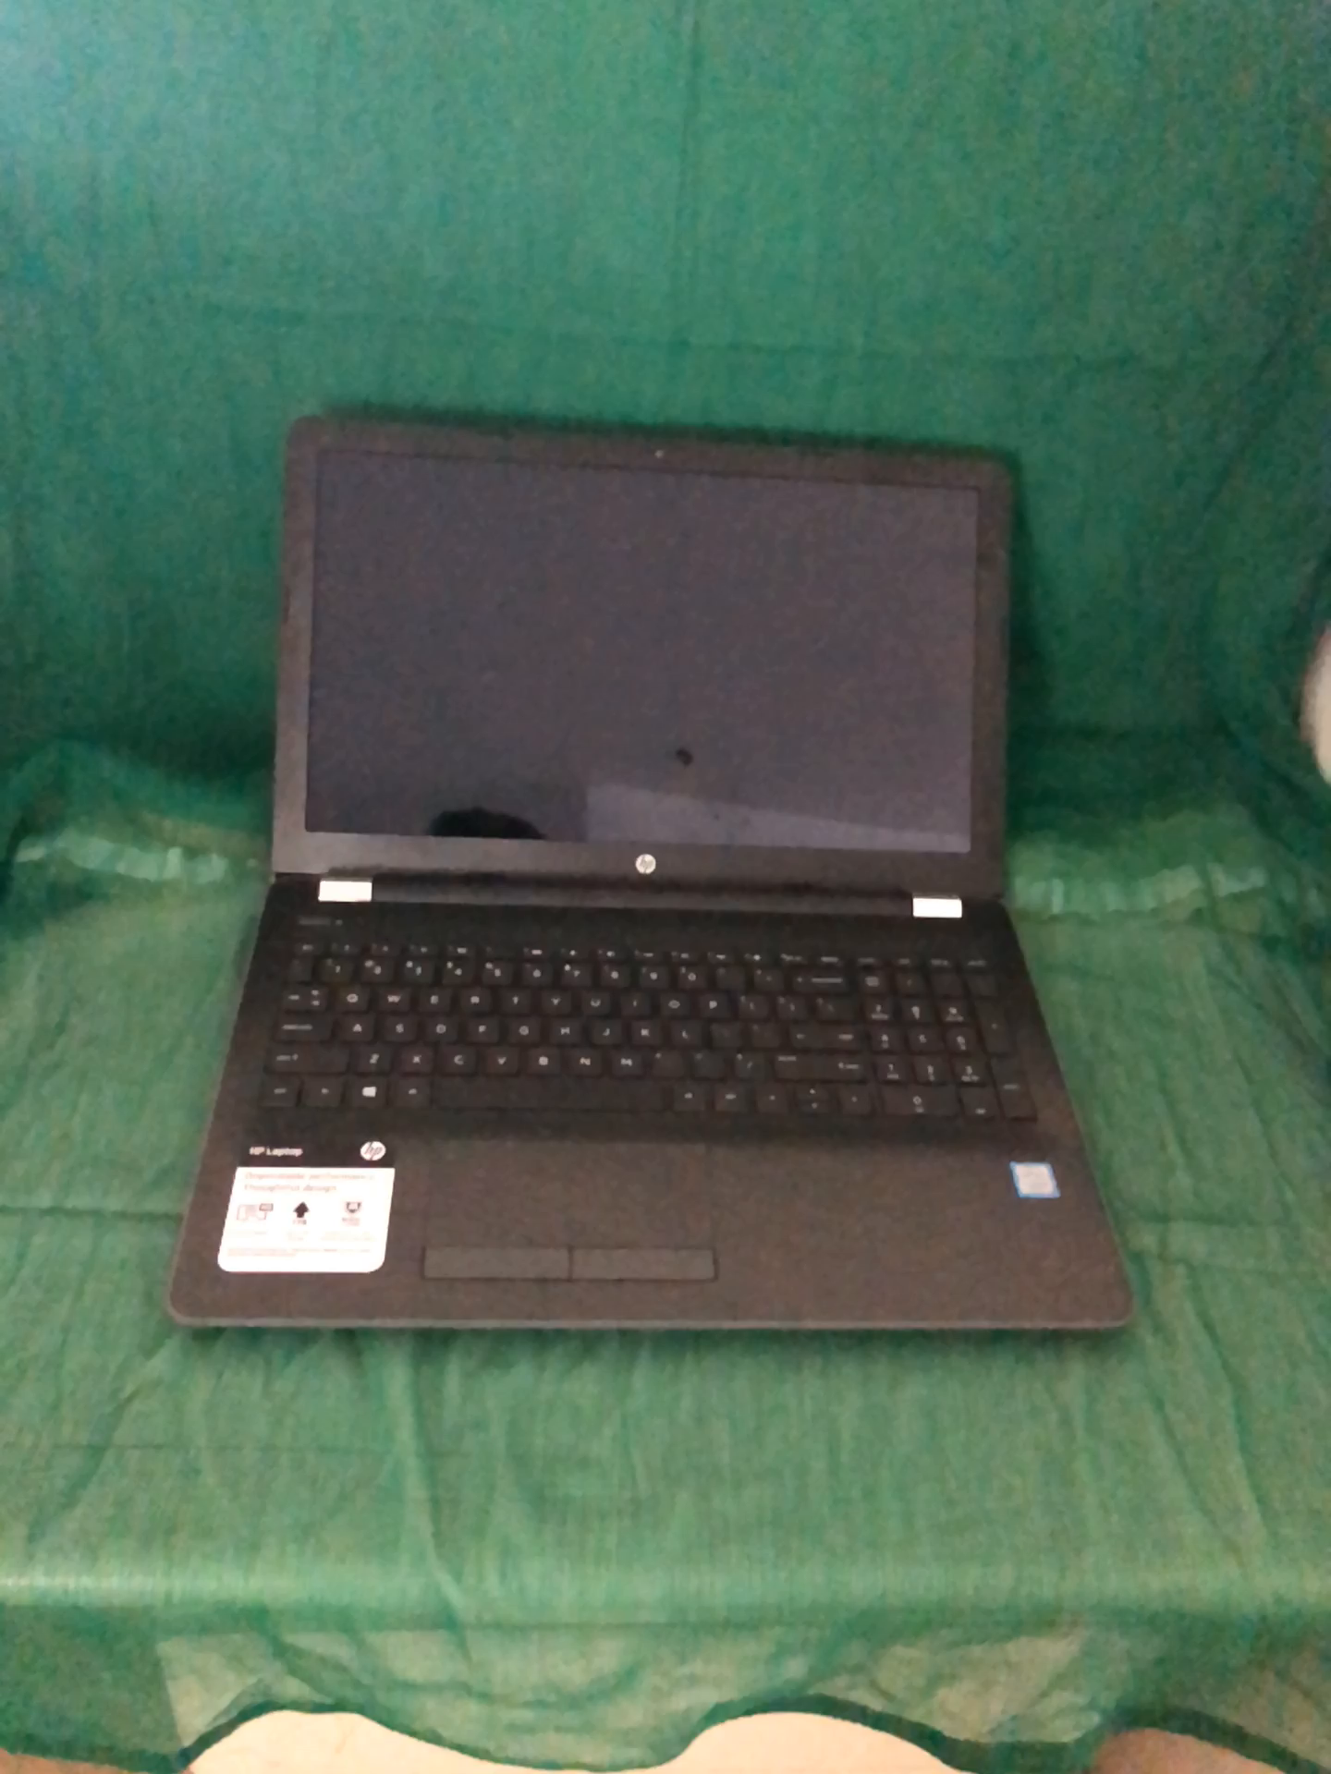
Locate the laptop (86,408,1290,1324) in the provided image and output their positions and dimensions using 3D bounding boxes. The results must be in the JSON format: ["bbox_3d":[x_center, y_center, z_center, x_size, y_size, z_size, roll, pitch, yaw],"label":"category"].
[{"bbox_3d":[0.001,-0.037,0.671,0.378,0.178,0.417,2,41,-4],"label":"laptop"}]
